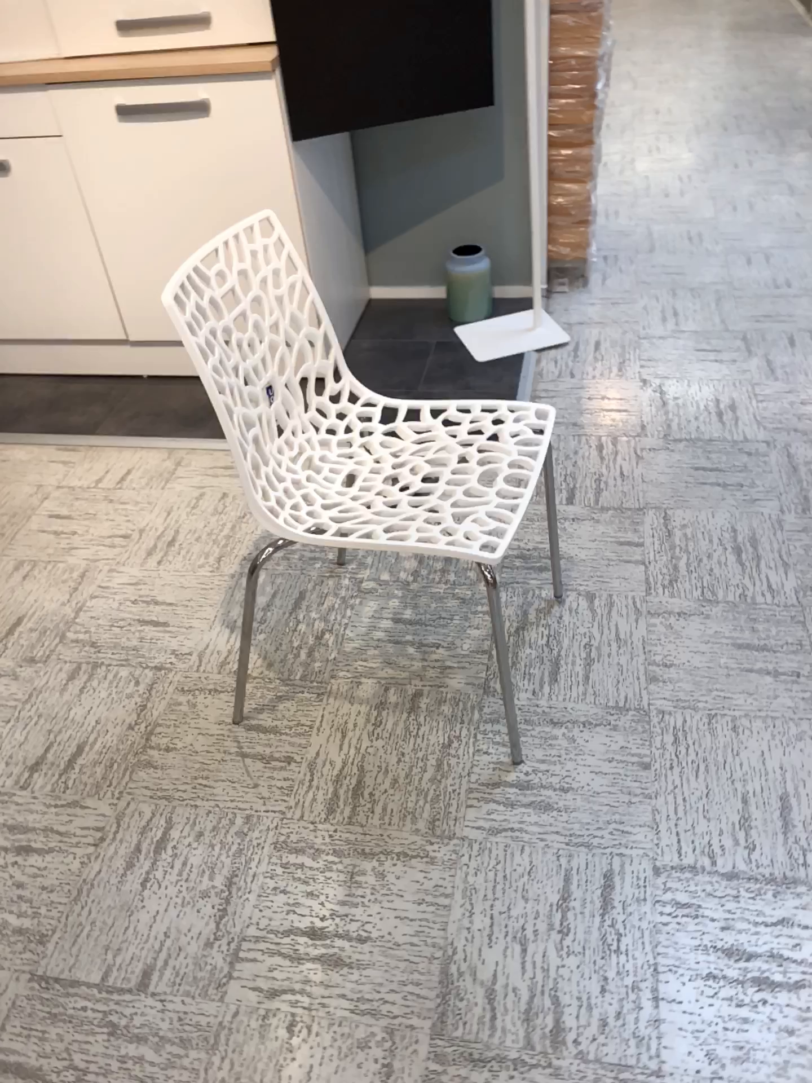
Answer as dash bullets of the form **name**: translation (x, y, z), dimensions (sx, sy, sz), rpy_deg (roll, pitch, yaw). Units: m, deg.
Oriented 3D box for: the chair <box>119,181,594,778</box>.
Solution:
- **chair**: translation (-0.008, -0.099, 1.425), dimensions (0.510, 0.786, 0.453), rpy_deg (8, 40, 17)
